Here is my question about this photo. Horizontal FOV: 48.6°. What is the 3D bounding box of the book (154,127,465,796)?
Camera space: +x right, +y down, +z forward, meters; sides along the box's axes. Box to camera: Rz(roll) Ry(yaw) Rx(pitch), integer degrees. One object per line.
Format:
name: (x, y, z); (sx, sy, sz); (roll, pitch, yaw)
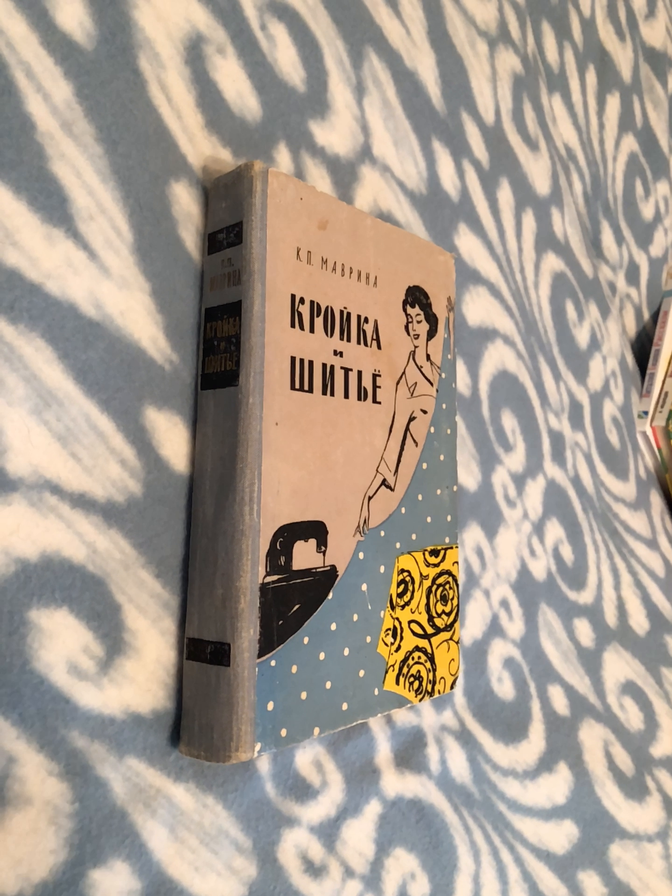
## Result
book: (-0.001, 0.006, 0.326); (0.152, 0.037, 0.231); (6, 82, -48)
